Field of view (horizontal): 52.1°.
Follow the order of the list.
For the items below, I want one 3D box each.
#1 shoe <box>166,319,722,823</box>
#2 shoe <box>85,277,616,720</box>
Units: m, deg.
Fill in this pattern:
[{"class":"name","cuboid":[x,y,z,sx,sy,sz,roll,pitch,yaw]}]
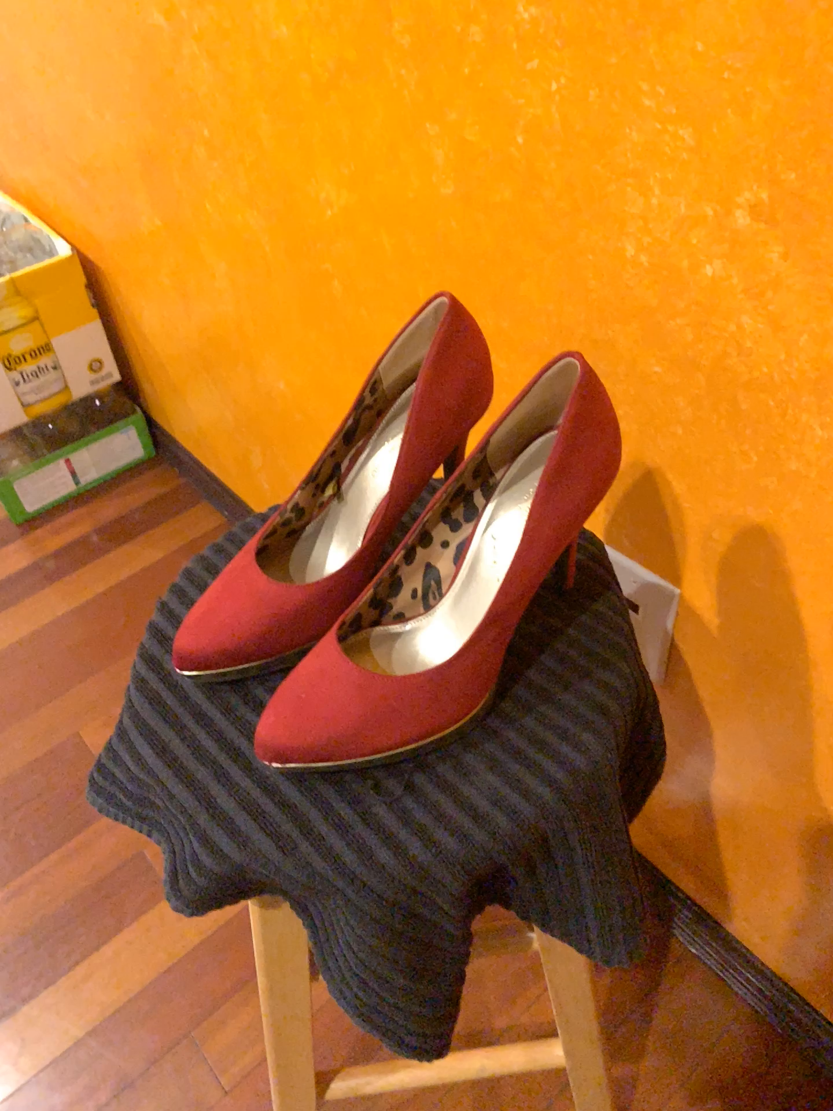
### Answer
[{"class":"shoe","cuboid":[0.024,-0.005,0.445,0.270,0.128,0.093,-30,54,-30]},{"class":"shoe","cuboid":[-0.024,-0.049,0.505,0.290,0.119,0.100,-31,54,-30]}]
